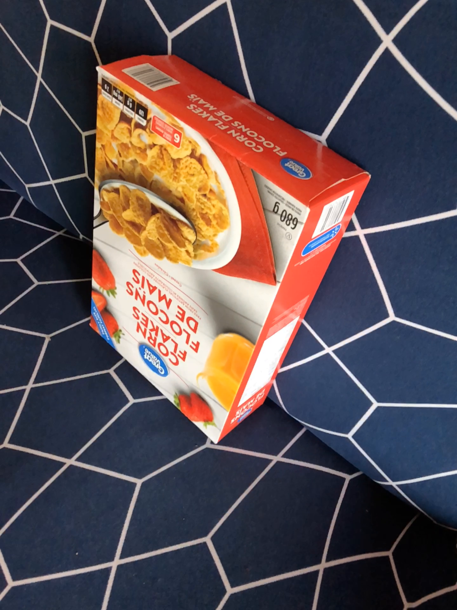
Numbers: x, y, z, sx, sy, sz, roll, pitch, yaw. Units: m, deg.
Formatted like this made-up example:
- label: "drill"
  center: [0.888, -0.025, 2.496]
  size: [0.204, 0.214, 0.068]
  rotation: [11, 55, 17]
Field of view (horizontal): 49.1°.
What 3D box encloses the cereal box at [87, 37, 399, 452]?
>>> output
- label: "cereal box"
  center: [-0.022, -0.044, 0.485]
  size: [0.221, 0.318, 0.100]
  rotation: [39, 47, 21]
